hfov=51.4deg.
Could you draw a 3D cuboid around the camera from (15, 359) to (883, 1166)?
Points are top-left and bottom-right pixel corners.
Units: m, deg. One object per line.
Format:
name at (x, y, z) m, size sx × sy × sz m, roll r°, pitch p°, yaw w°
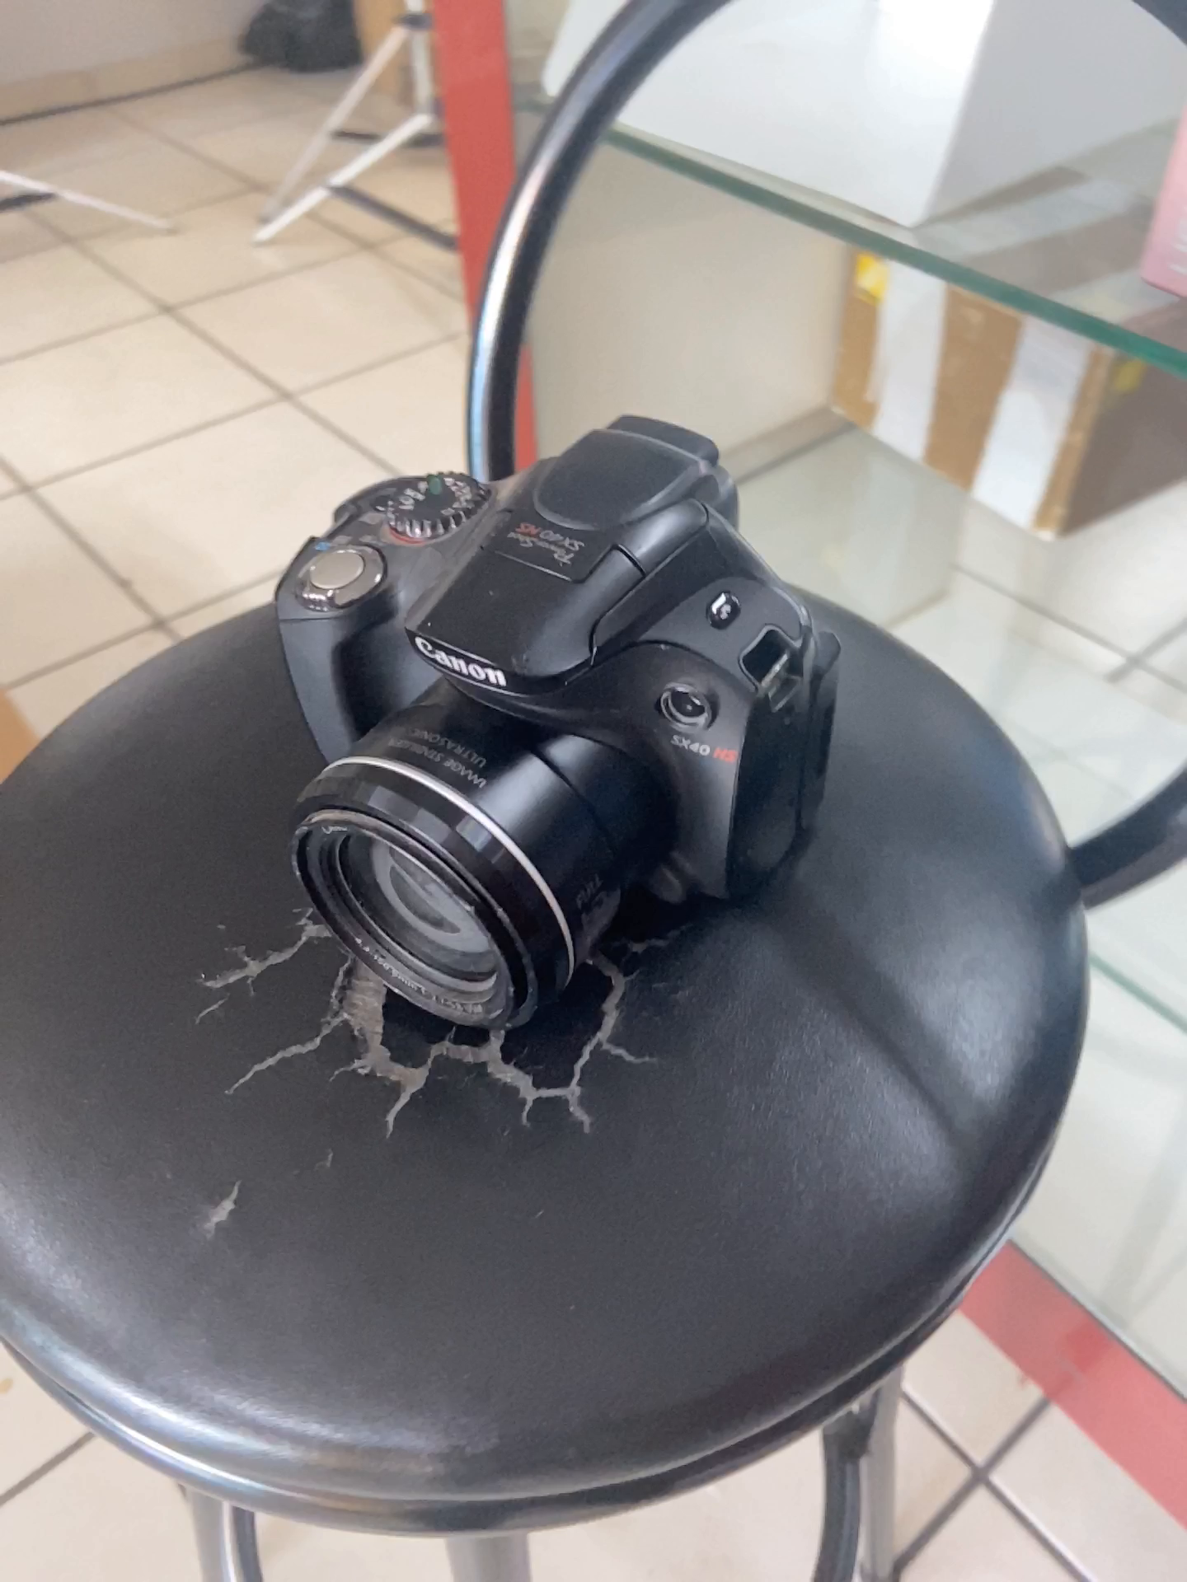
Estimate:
camera at (-0.021, -0.014, 0.261) m, size 0.120 × 0.089 × 0.111 m, roll 20°, pitch 49°, yaw 22°
